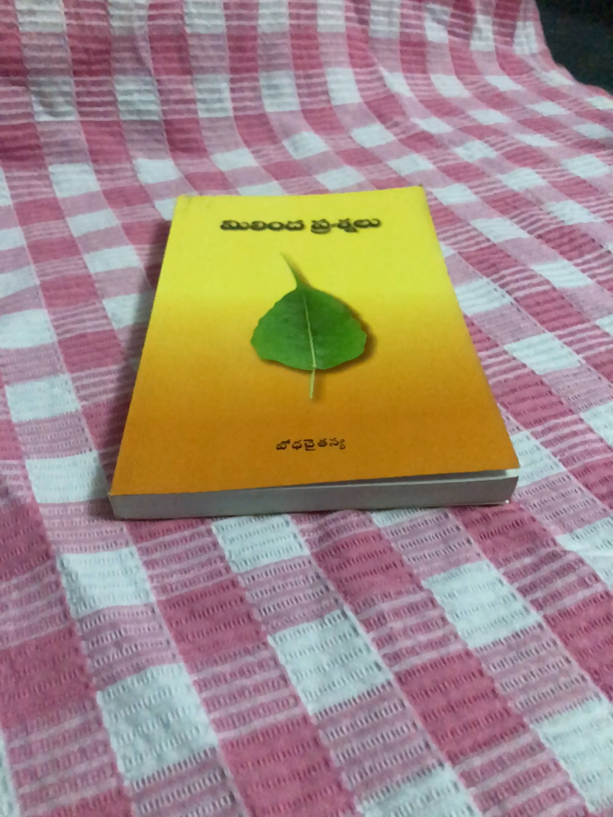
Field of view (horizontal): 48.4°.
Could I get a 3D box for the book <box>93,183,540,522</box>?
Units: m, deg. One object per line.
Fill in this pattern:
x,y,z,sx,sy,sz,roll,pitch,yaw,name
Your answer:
0.000,-0.045,0.316,0.150,0.020,0.221,-1,43,-2,book
